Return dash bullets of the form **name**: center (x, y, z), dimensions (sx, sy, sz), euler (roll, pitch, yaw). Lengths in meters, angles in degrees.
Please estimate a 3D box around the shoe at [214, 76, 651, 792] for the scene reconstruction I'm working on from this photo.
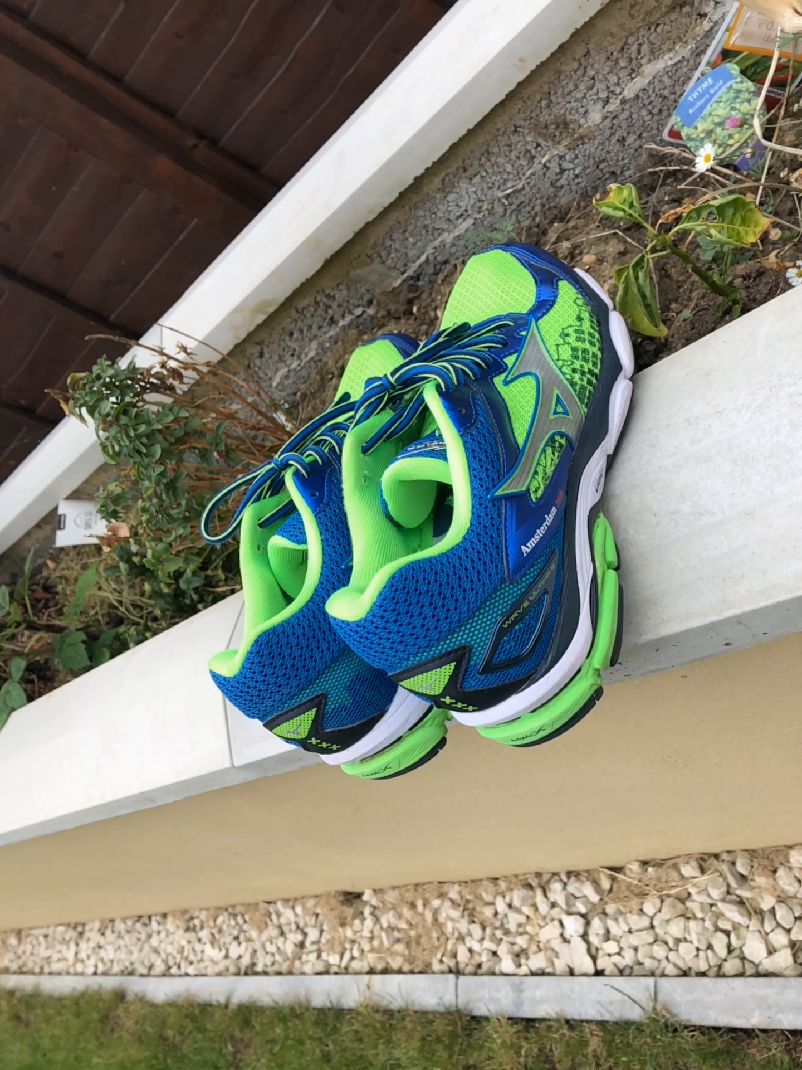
- **shoe**: center (0.025, -0.051, 0.407), dimensions (0.110, 0.119, 0.291), euler (-29, 43, 42)

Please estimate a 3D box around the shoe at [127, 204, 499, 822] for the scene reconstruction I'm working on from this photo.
- **shoe**: center (-0.043, -0.018, 0.471), dimensions (0.110, 0.119, 0.291), euler (-35, 43, 38)
